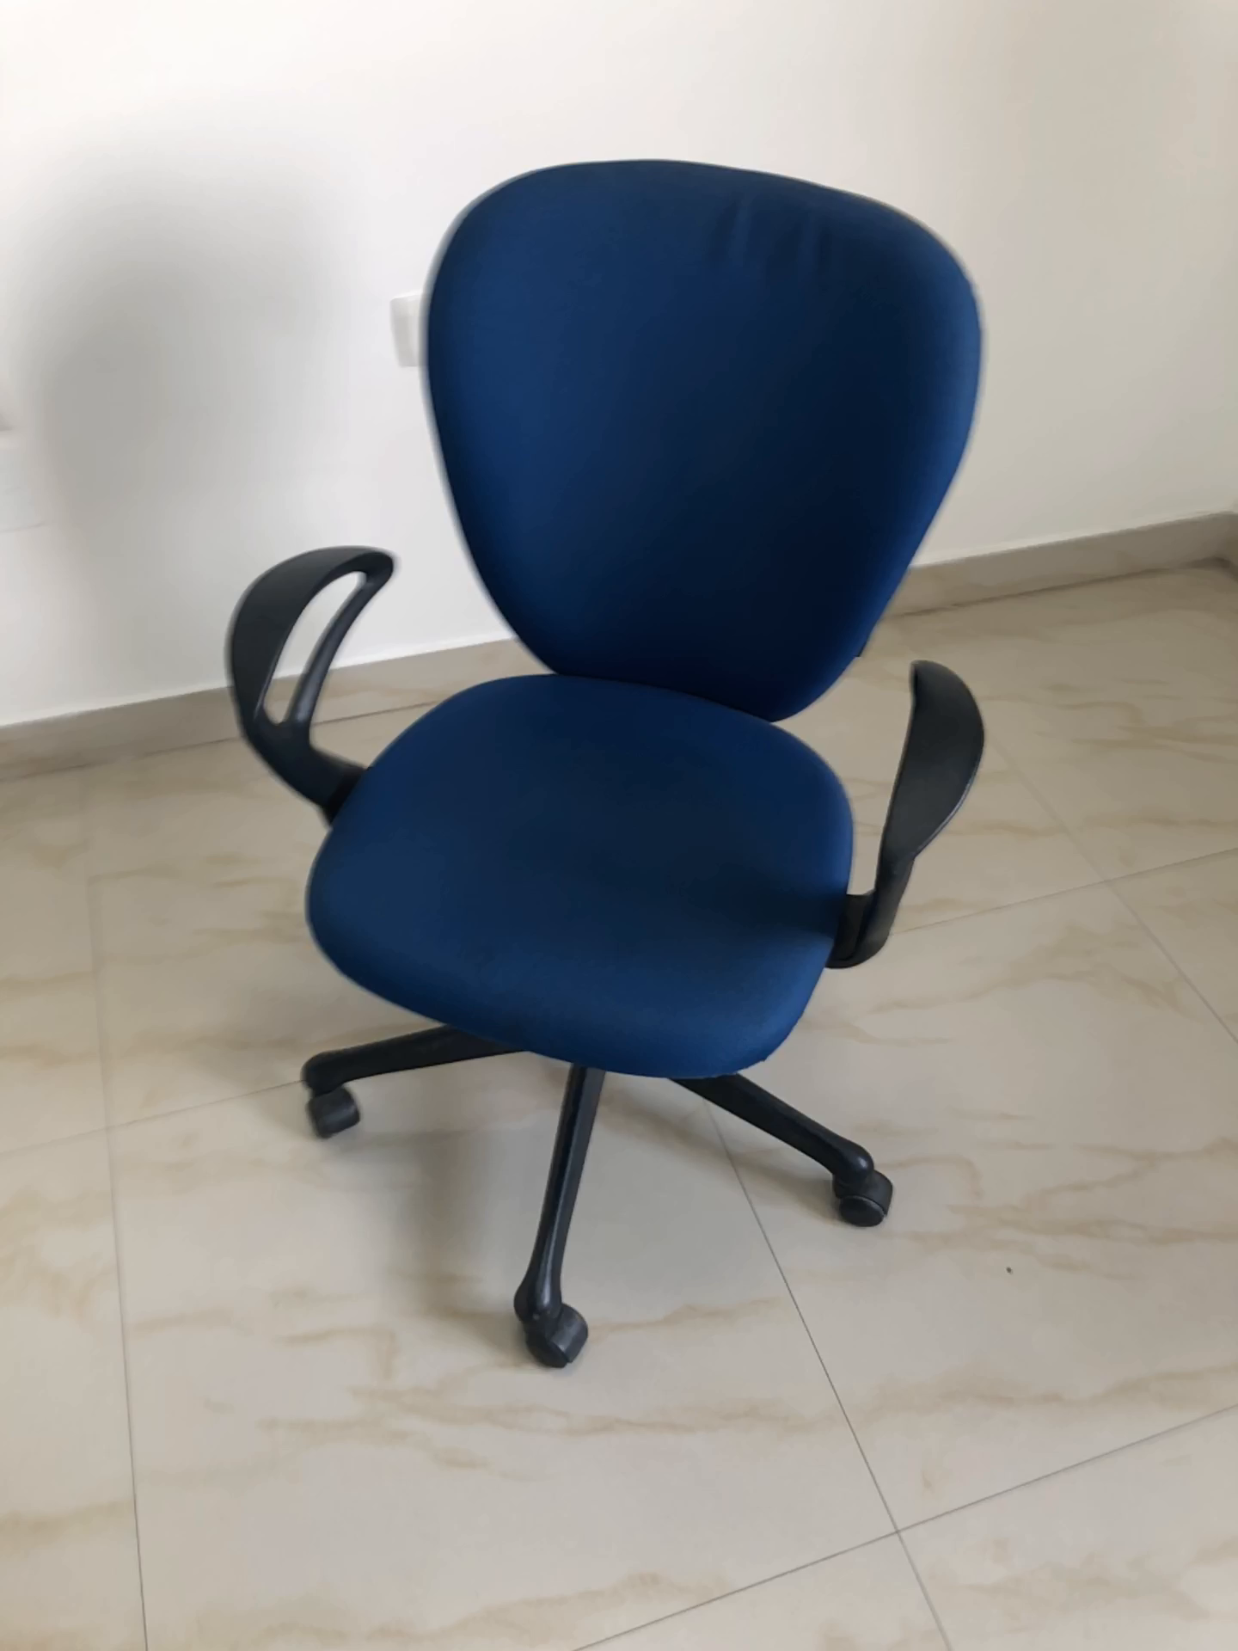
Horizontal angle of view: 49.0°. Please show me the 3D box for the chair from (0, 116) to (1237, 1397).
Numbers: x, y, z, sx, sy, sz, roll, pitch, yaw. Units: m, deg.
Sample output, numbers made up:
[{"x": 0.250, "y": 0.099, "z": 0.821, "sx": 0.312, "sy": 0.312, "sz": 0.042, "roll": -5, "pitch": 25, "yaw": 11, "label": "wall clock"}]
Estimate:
[{"x": -0.038, "y": -0.038, "z": 1.241, "sx": 0.650, "sy": 0.914, "sz": 0.705, "roll": -1, "pitch": 44, "yaw": -3, "label": "chair"}]
